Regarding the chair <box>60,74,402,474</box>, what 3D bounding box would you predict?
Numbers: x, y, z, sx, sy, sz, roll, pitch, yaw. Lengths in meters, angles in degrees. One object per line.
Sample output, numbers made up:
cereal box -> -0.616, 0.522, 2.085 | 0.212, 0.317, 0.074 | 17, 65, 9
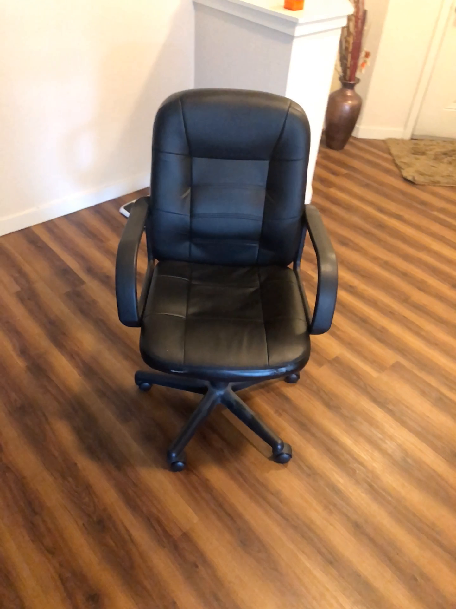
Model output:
chair -> -0.027, -0.056, 1.552 | 0.662, 1.011, 0.671 | 2, 41, -3
